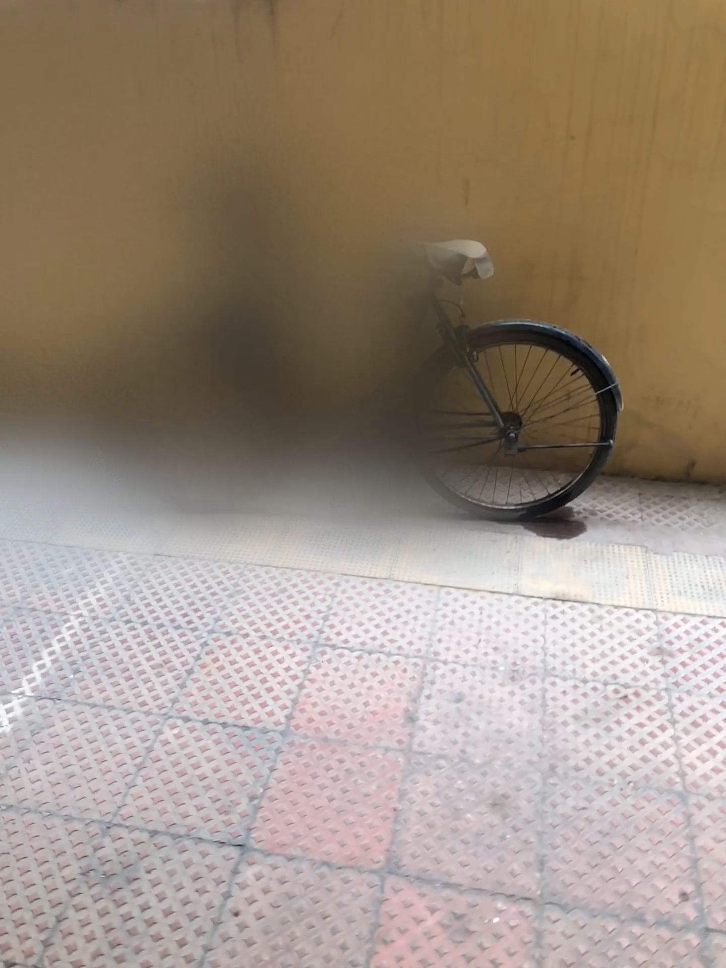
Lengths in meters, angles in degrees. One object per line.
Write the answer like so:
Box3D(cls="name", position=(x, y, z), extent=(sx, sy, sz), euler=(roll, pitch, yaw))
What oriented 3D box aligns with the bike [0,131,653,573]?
Box3D(cls="bike", position=(-0.062, -0.374, 2.248), extent=(1.545, 0.998, 0.544), euler=(4, 33, 4))
